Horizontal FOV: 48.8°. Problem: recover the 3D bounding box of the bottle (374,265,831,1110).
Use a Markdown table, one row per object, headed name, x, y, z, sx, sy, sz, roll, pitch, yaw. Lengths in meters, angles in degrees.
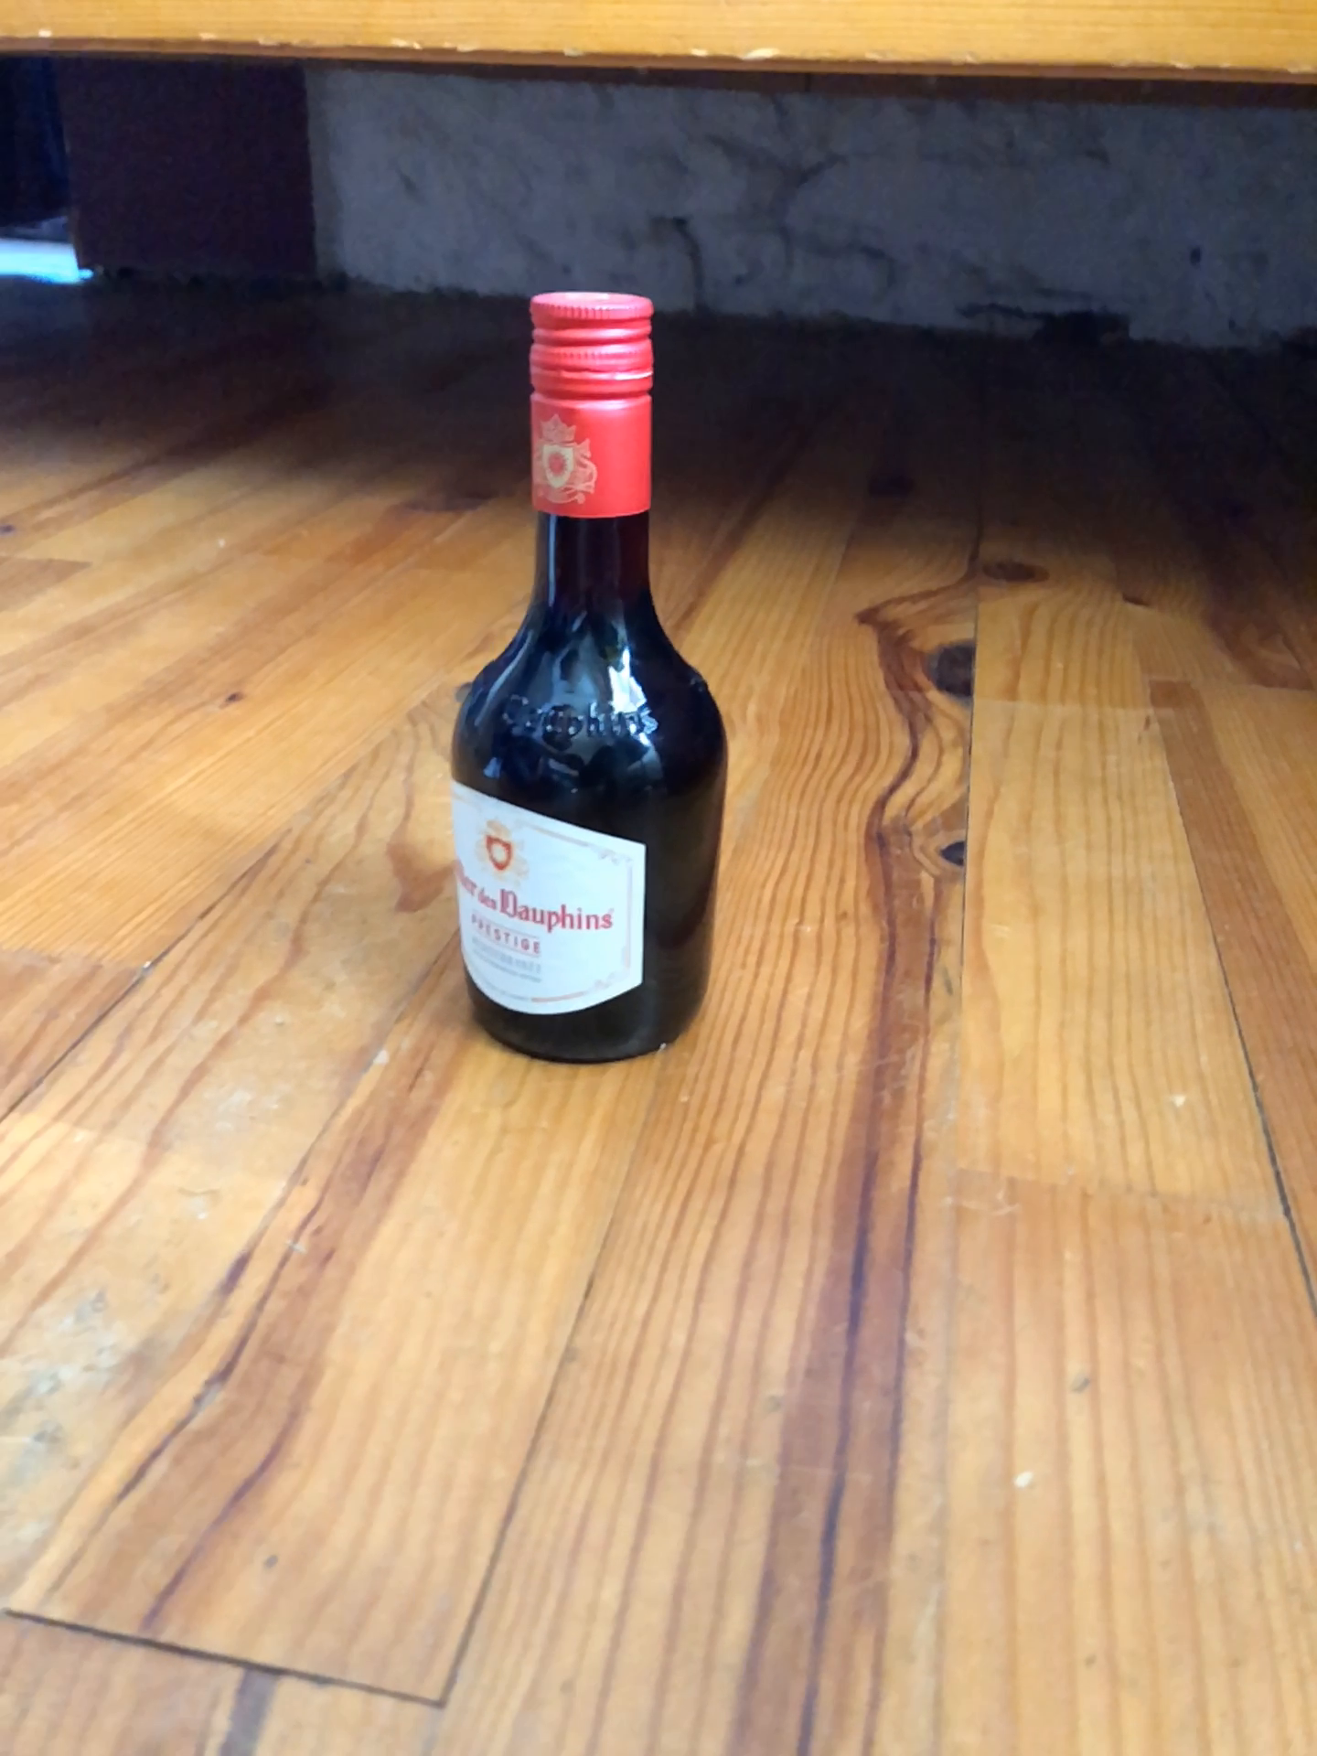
| name | x | y | z | sx | sy | sz | roll | pitch | yaw |
| --- | --- | --- | --- | --- | --- | --- | --- | --- | --- |
| bottle | -0.015 | -0.044 | 0.331 | 0.070 | 0.169 | 0.060 | 21 | 32 | 31 |
